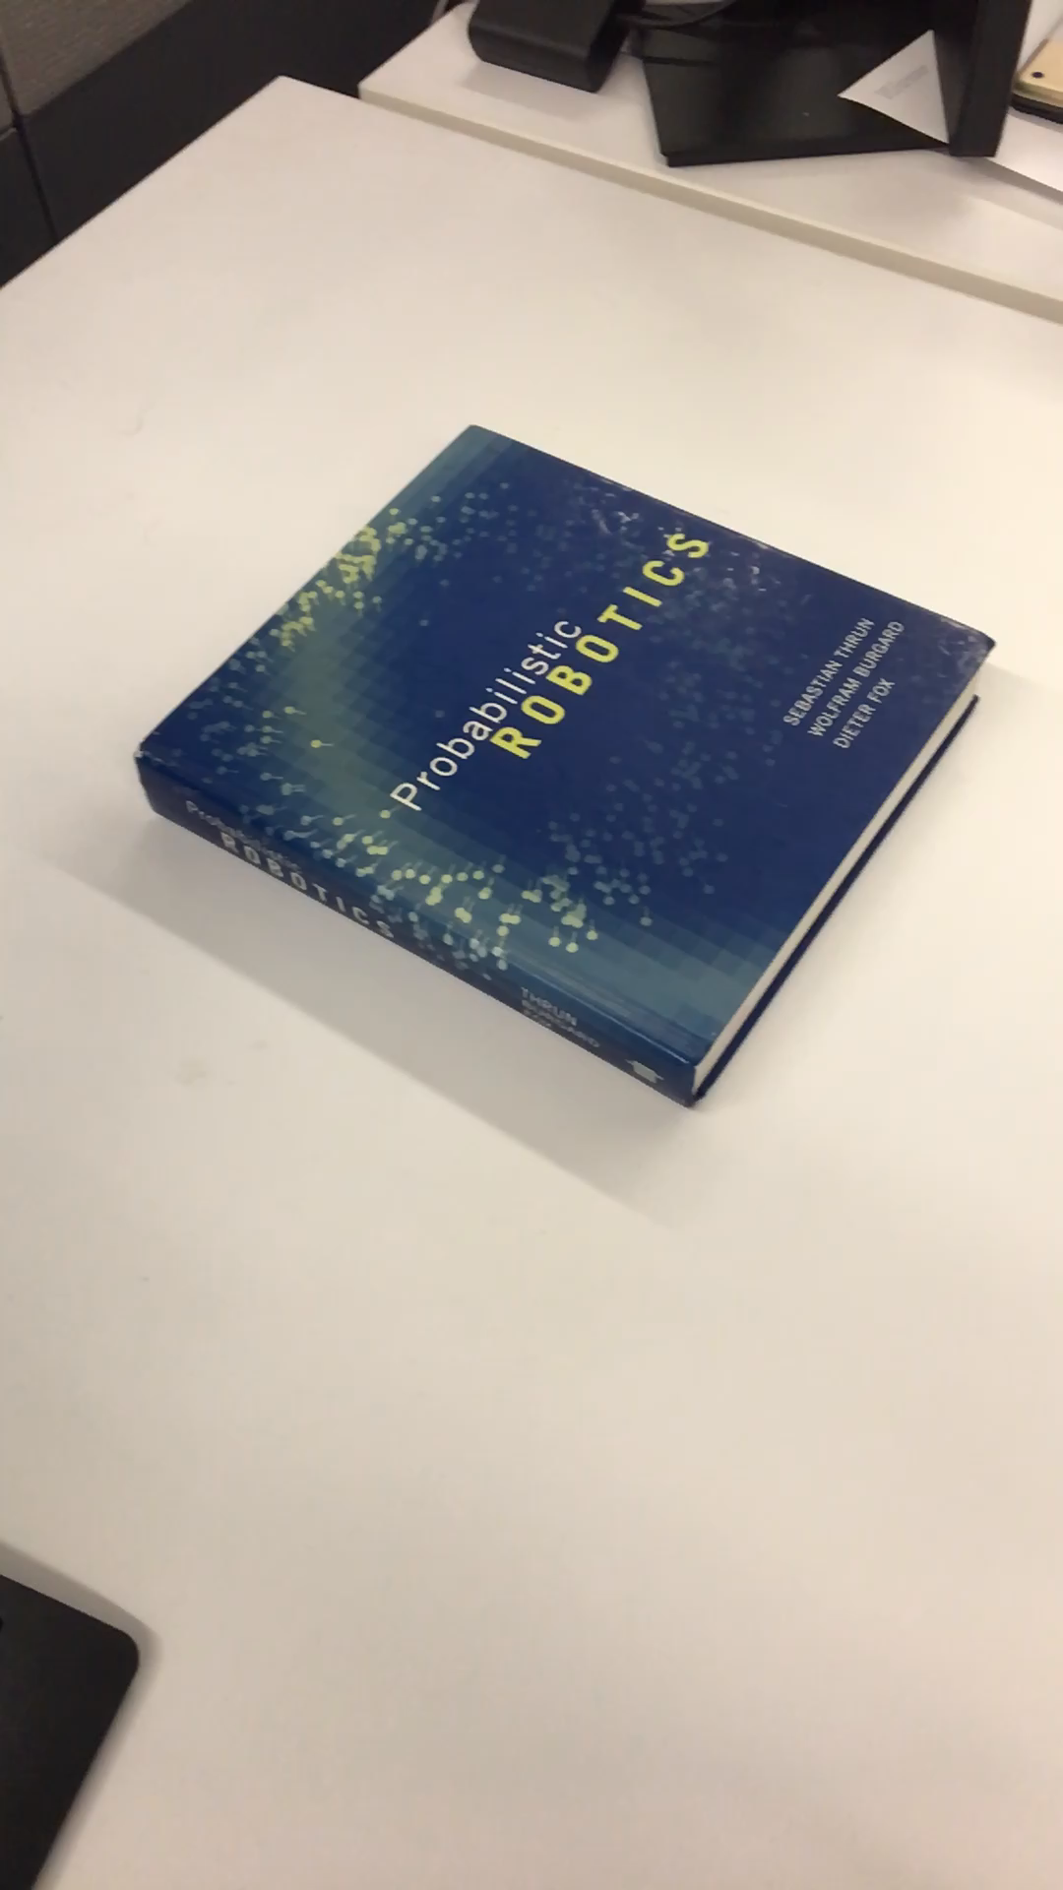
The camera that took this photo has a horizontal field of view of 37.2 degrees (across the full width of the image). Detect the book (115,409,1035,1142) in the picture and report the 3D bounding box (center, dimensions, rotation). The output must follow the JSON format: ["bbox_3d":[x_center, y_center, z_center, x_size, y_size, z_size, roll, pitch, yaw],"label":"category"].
[{"bbox_3d":[0.018,-0.078,0.564,0.240,0.030,0.220,28,62,19],"label":"book"}]
